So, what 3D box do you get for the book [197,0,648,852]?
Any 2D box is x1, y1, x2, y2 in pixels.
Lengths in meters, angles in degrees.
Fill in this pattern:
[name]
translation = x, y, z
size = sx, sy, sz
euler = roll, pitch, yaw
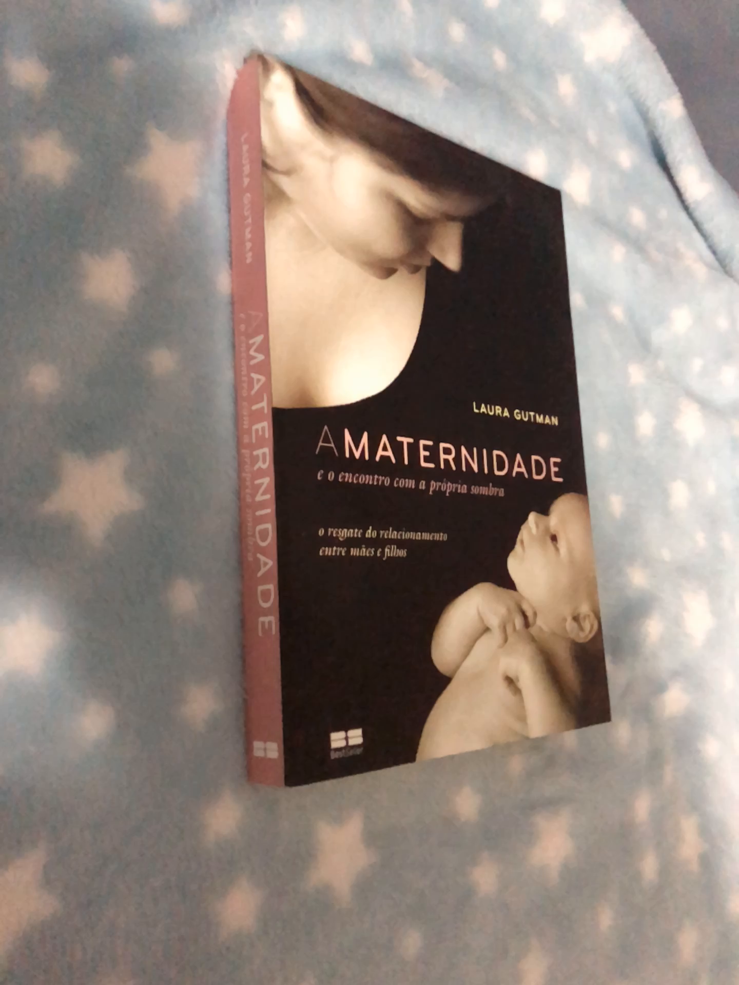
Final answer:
[book]
translation = 0.023, -0.023, 0.283
size = 0.161, 0.030, 0.240
euler = 5, 76, -39
